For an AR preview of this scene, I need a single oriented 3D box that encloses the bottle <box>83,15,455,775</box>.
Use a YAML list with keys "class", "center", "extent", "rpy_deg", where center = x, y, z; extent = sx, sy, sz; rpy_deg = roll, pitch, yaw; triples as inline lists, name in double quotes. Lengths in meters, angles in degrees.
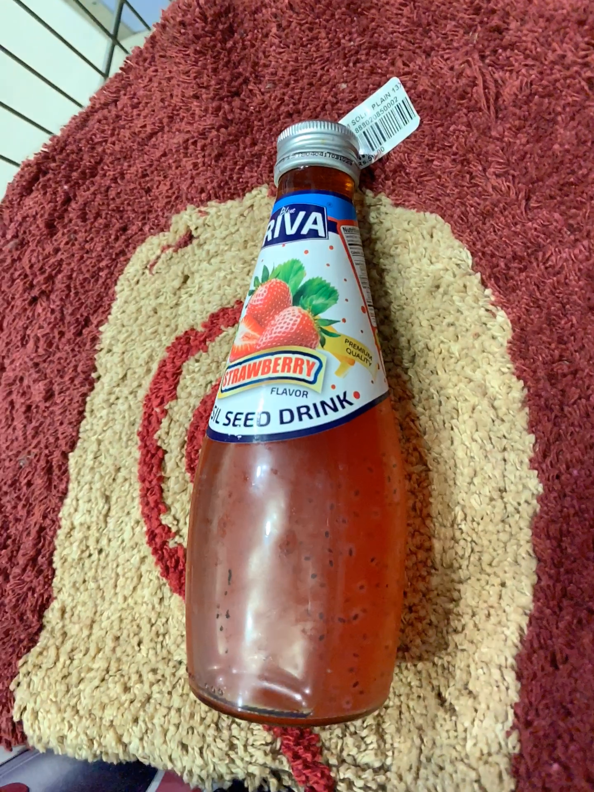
- class: "bottle"
  center: [-0.002, -0.004, 0.165]
  extent: [0.070, 0.050, 0.160]
  rpy_deg: [1, 80, 26]
